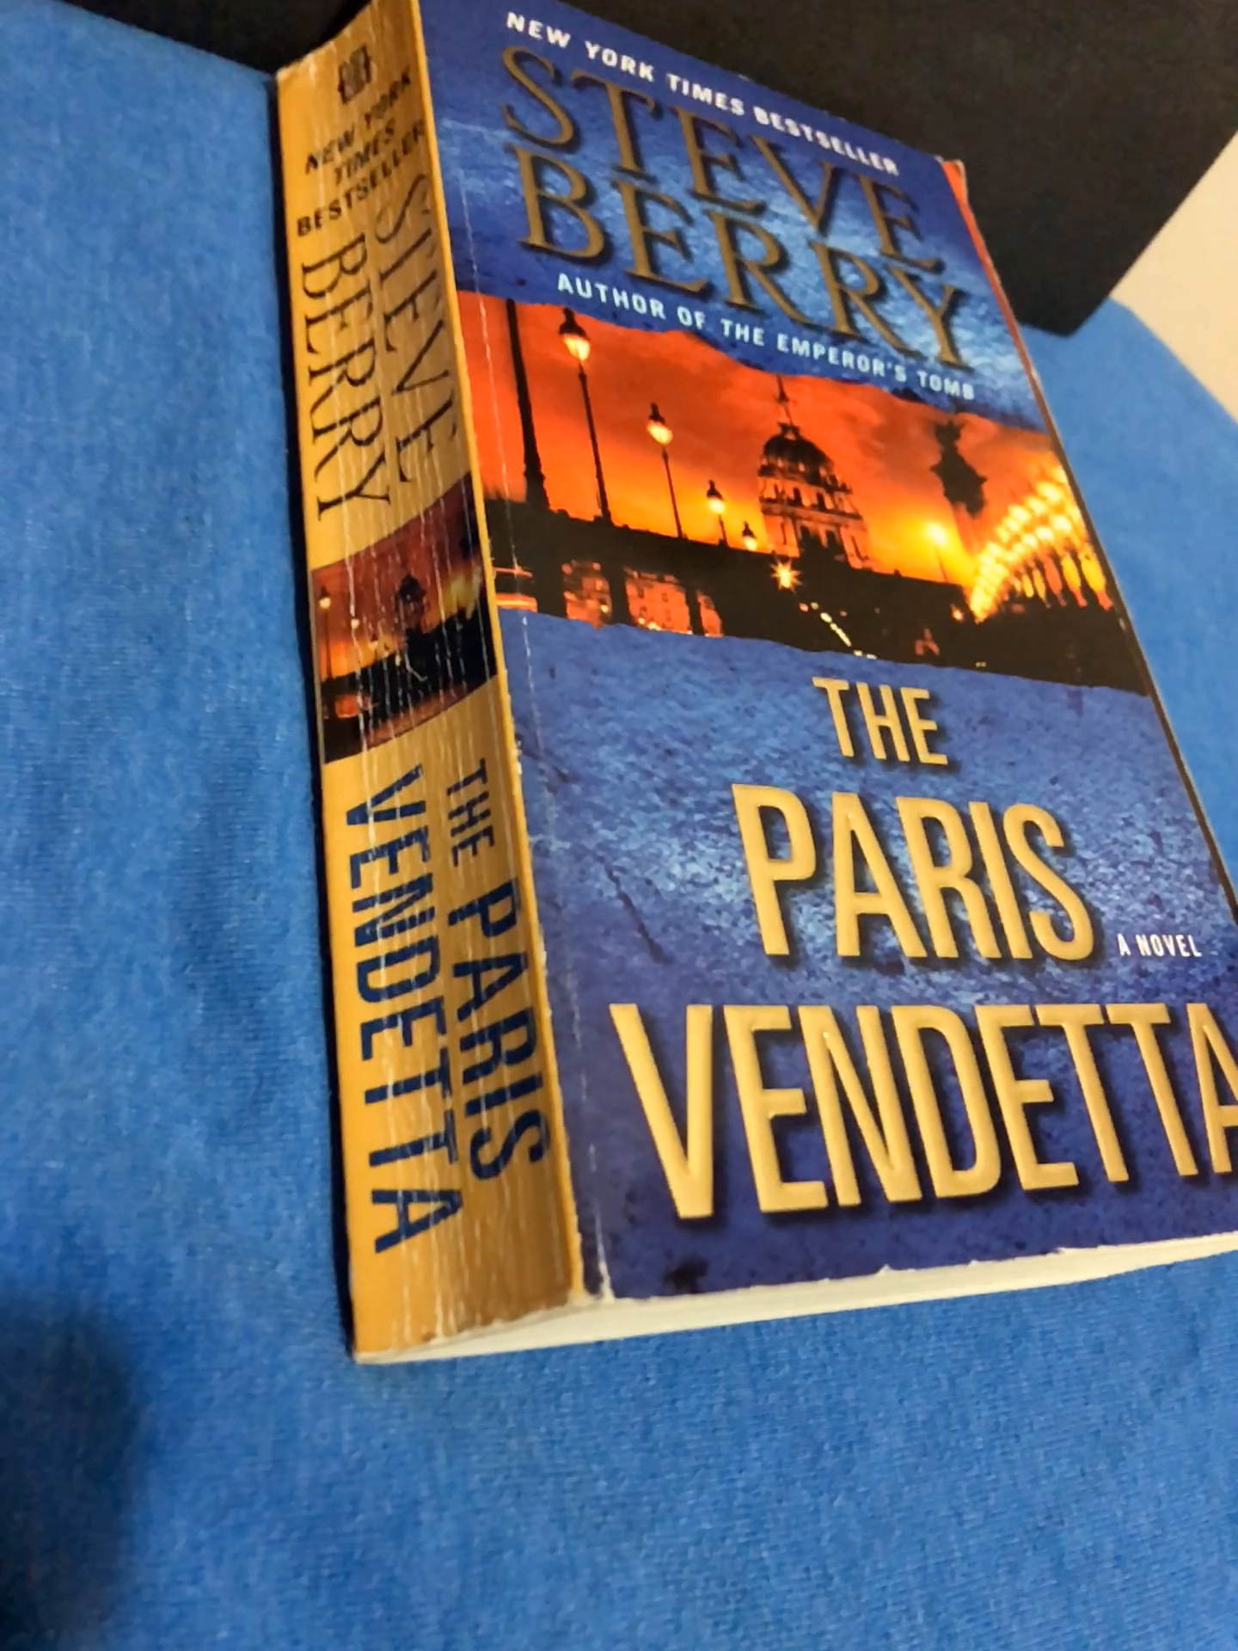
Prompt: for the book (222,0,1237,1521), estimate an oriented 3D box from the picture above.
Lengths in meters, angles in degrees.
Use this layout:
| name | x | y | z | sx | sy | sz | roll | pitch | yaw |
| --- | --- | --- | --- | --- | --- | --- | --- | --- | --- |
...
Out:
| name | x | y | z | sx | sy | sz | roll | pitch | yaw |
| --- | --- | --- | --- | --- | --- | --- | --- | --- | --- |
| book | 0.018 | -0.027 | 0.194 | 0.120 | 0.050 | 0.200 | 7 | 58 | -34 |
